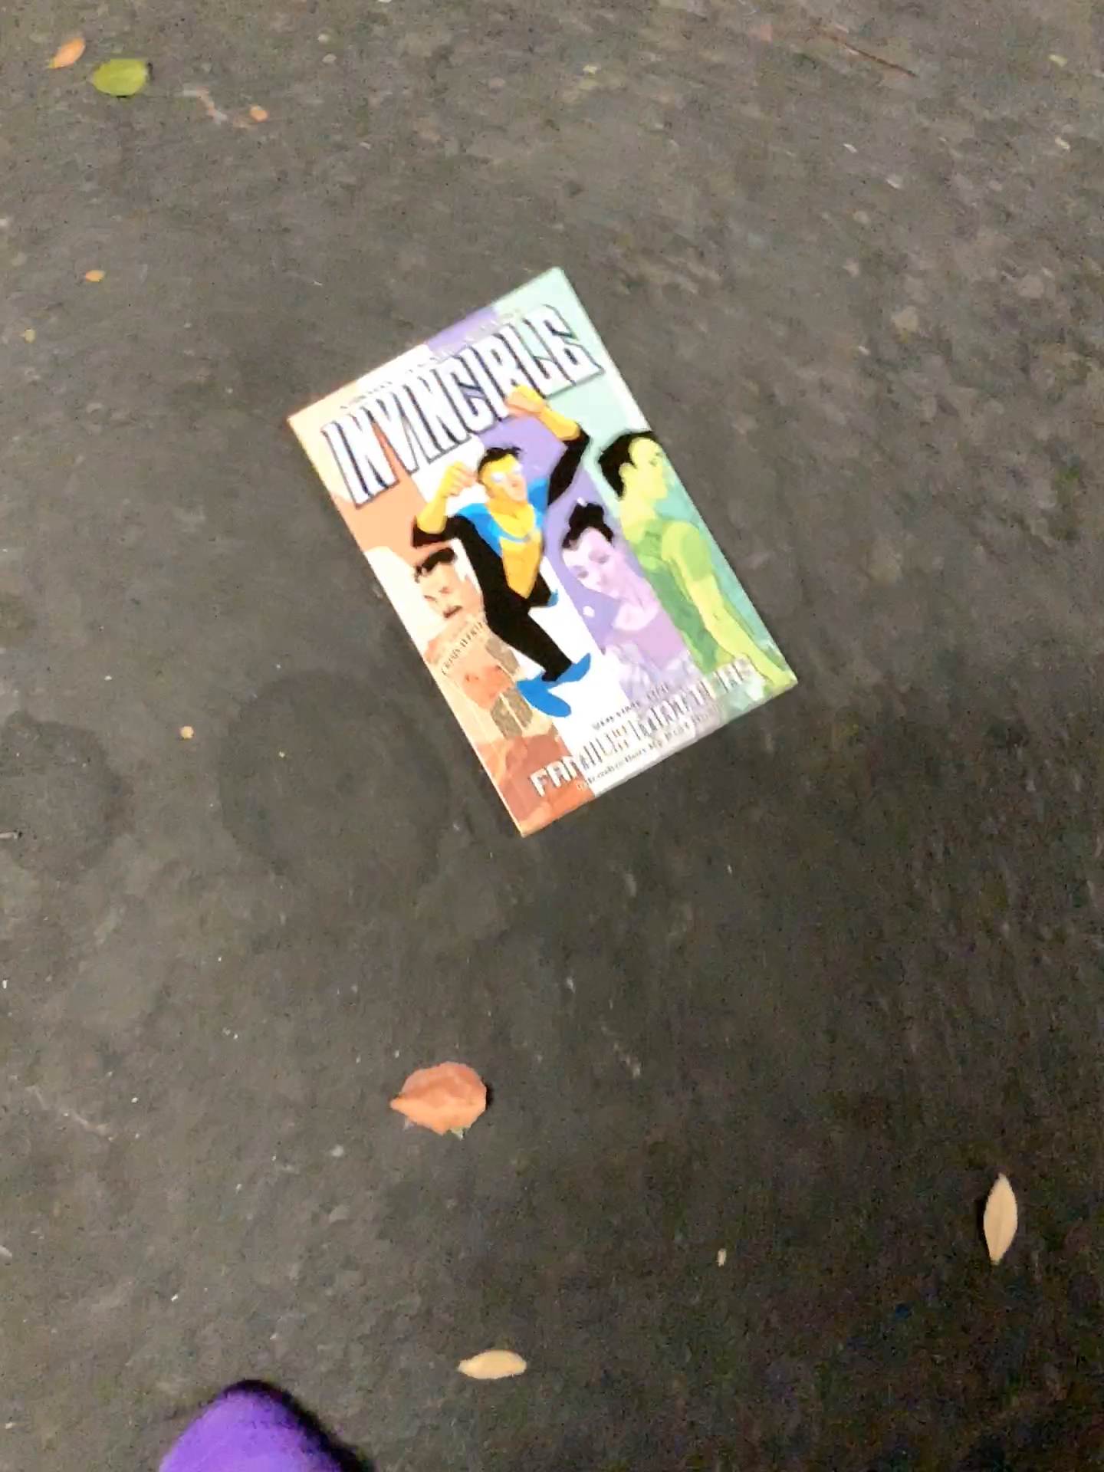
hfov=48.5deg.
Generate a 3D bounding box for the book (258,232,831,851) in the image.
[{"bbox_3d":[-0.006,-0.103,0.635,0.180,0.020,0.270,-31,83,-2],"label":"book"}]
